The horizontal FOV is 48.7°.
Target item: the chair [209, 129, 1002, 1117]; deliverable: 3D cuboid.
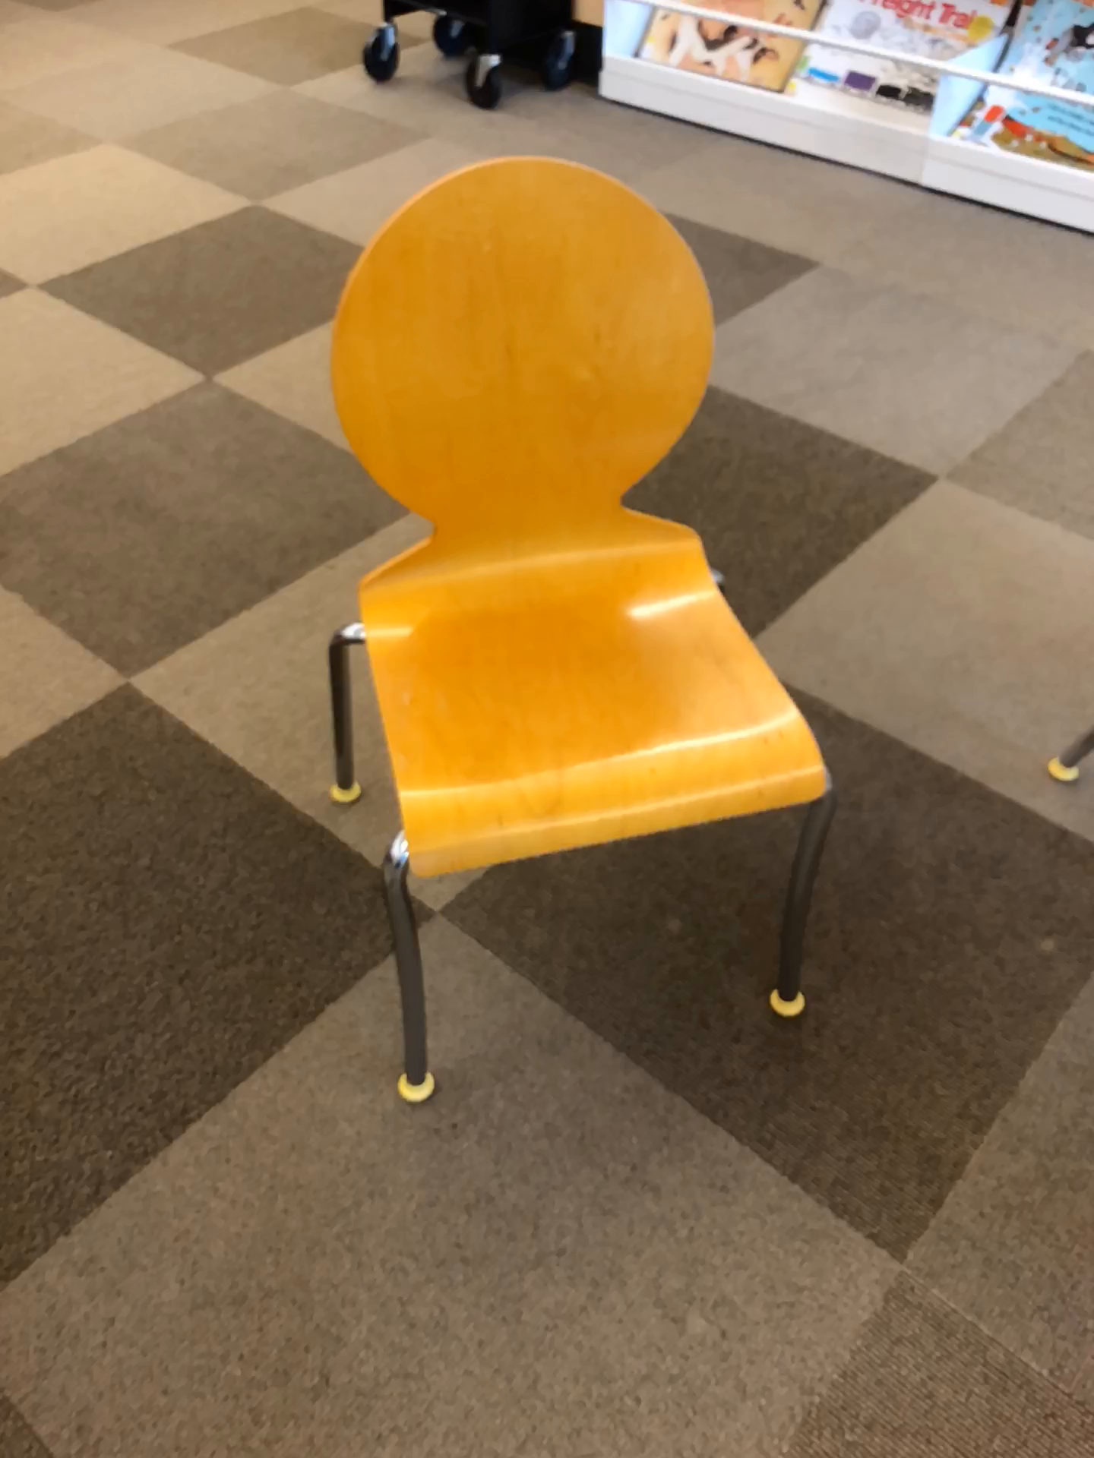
[{"bbox_3d":[0.001,-0.082,1.130,0.465,0.722,0.472,-10,45,-10],"label":"chair"}]
